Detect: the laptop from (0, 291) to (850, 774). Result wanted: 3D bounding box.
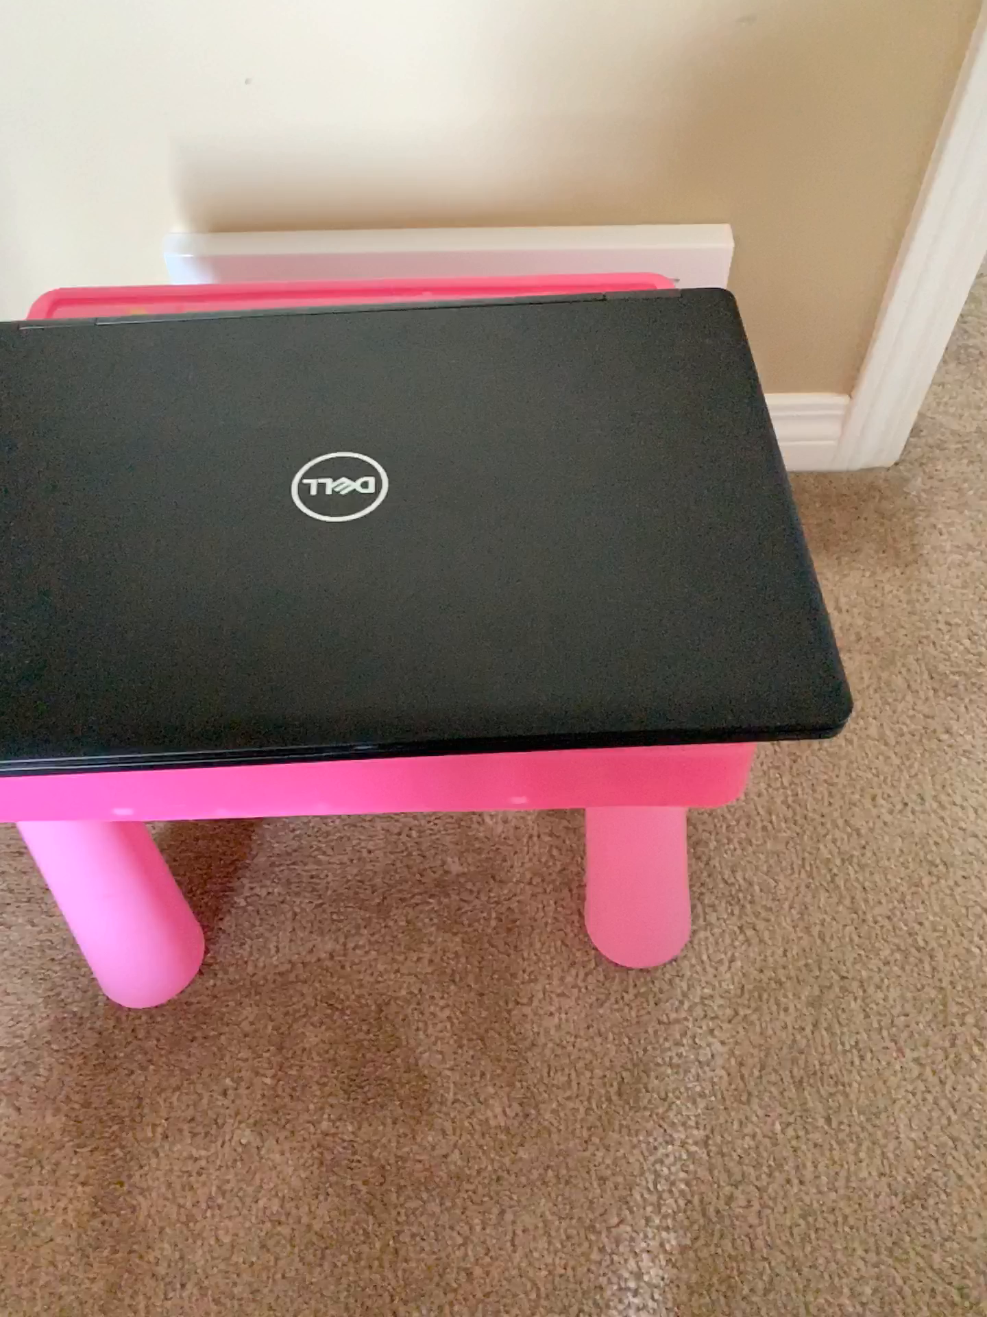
[{"bbox_3d":[-0.065,-0.068,0.422,0.366,0.005,0.241,-3,55,0],"label":"laptop"}]
